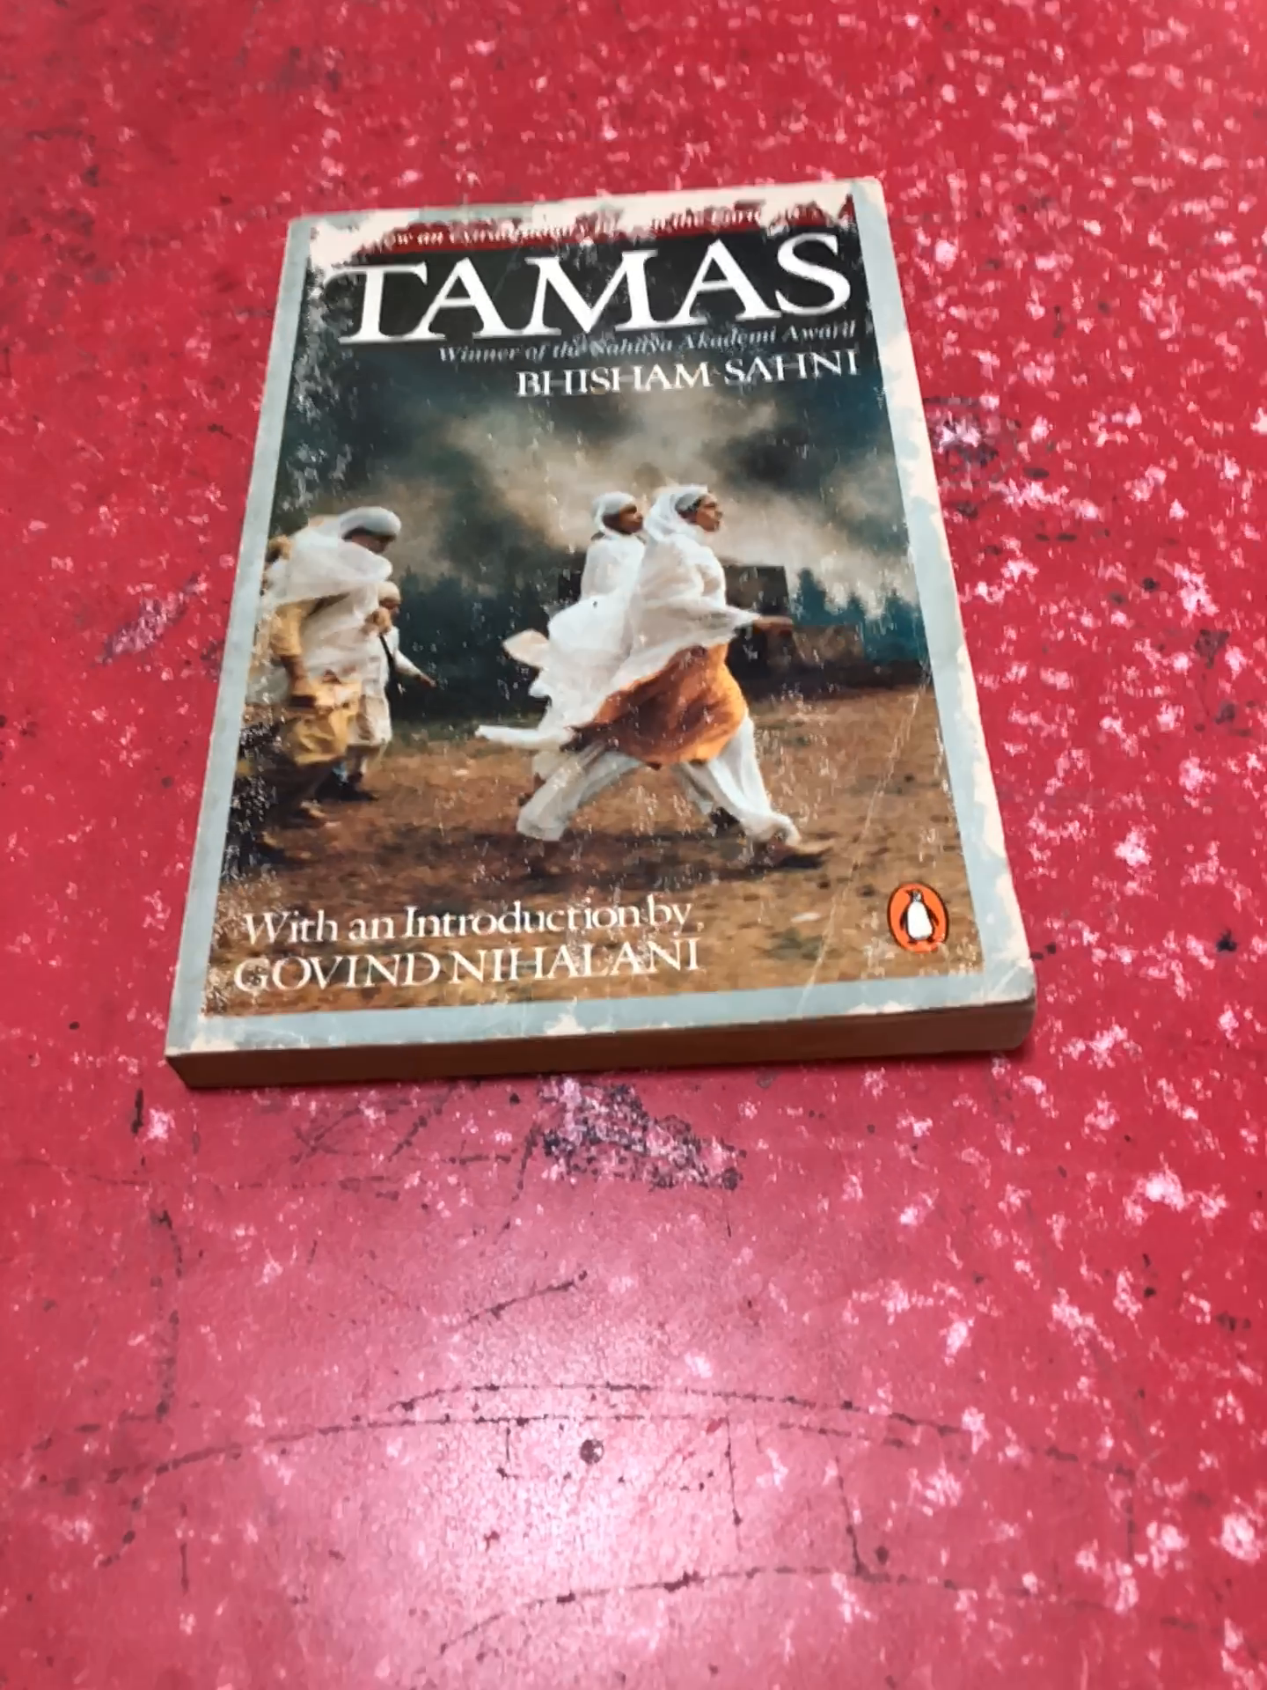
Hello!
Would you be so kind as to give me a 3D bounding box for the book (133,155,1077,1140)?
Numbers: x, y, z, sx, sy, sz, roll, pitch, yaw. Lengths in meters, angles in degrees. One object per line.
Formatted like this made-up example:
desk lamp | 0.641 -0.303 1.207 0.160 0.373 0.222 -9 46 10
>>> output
book | -0.007 -0.050 0.255 0.130 0.020 0.200 -3 59 2
